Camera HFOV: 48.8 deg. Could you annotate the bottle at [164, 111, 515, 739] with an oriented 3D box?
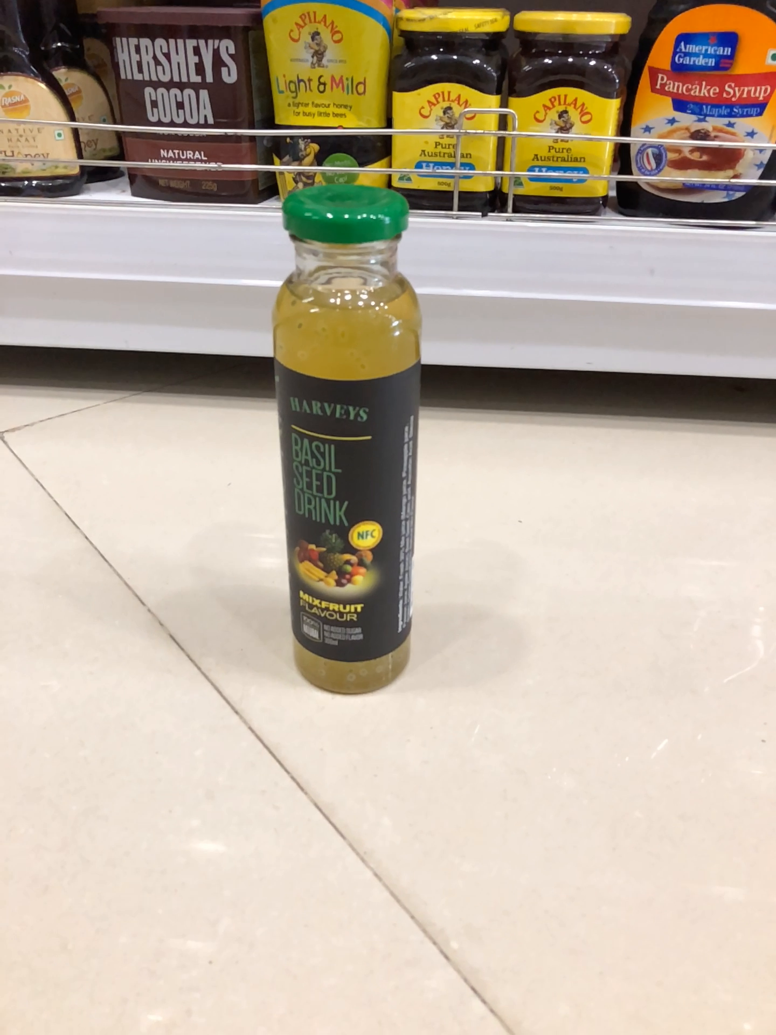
[{"bbox_3d":[-0.013,-0.029,0.305,0.080,0.199,0.070,15,35,21],"label":"bottle"}]
